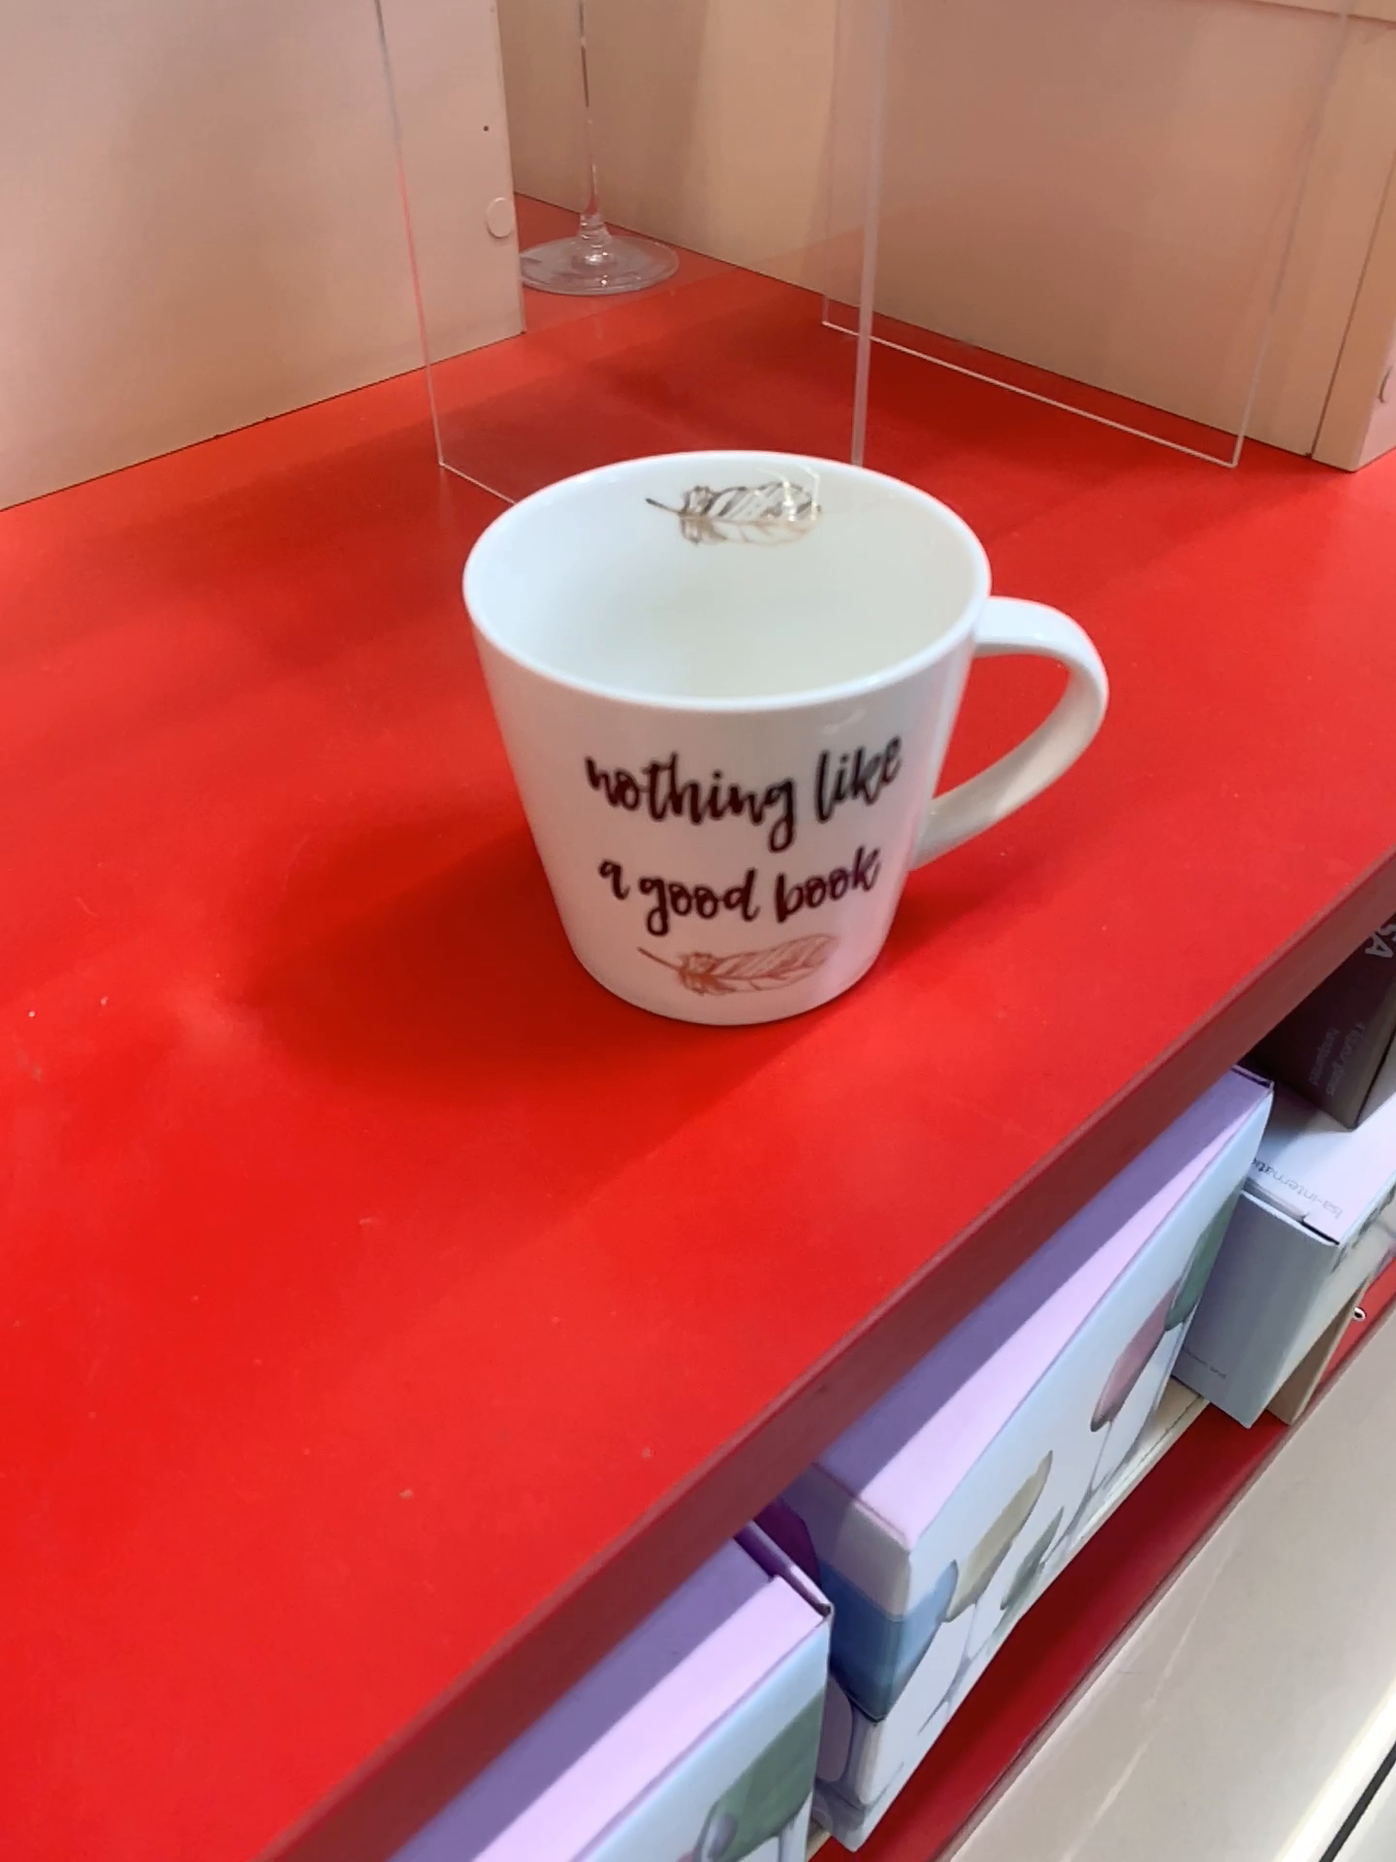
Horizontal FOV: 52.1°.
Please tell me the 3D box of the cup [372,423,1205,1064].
[{"bbox_3d":[0.015,-0.038,0.286,0.130,0.090,0.090,-1,42,1],"label":"cup"}]
